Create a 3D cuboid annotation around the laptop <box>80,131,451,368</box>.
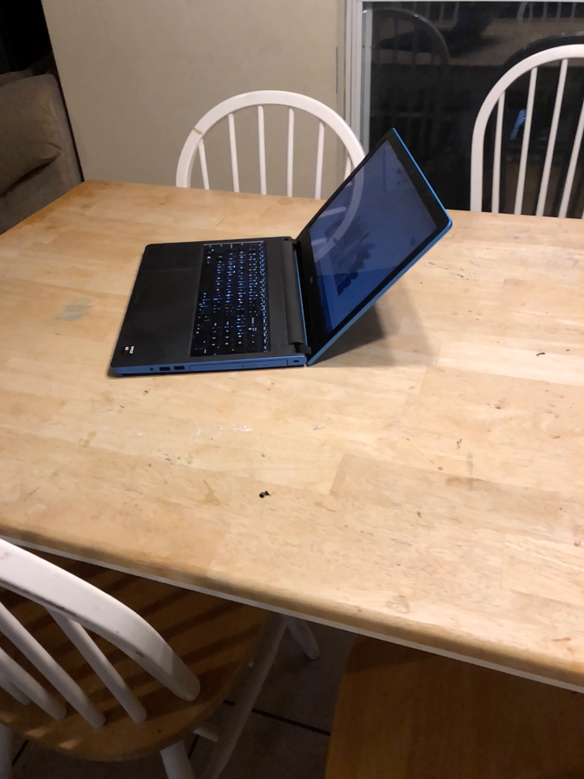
[{"bbox_3d":[-0.034,-0.220,0.920,0.418,0.174,0.369,-3,37,-1],"label":"laptop"}]
